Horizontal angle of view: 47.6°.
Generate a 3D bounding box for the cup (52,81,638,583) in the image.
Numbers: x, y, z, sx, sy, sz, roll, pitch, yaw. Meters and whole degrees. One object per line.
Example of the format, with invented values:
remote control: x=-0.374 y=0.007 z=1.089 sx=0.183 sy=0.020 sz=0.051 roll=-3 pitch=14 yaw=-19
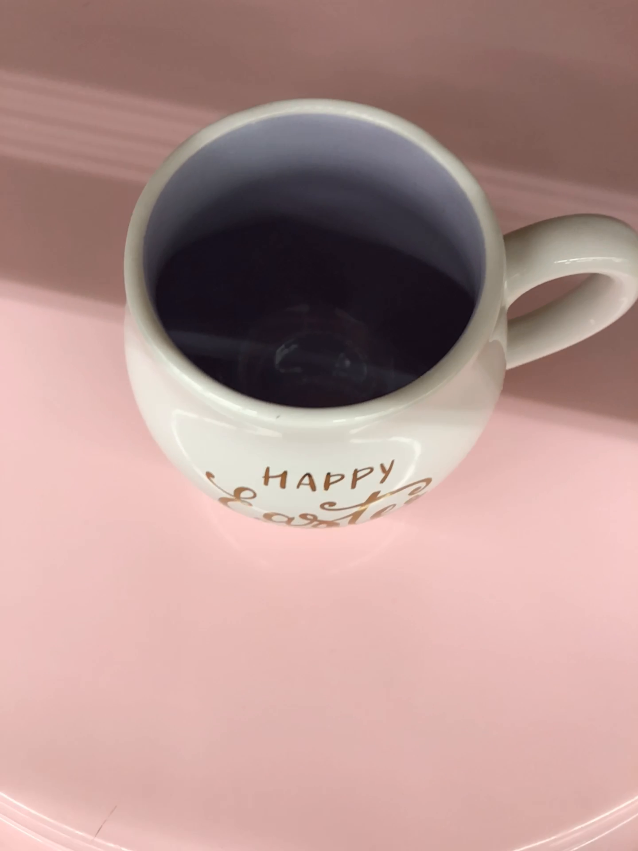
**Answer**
cup: x=0.010 y=-0.018 z=0.189 sx=0.130 sy=0.080 sz=0.090 roll=-6 pitch=70 yaw=-2
